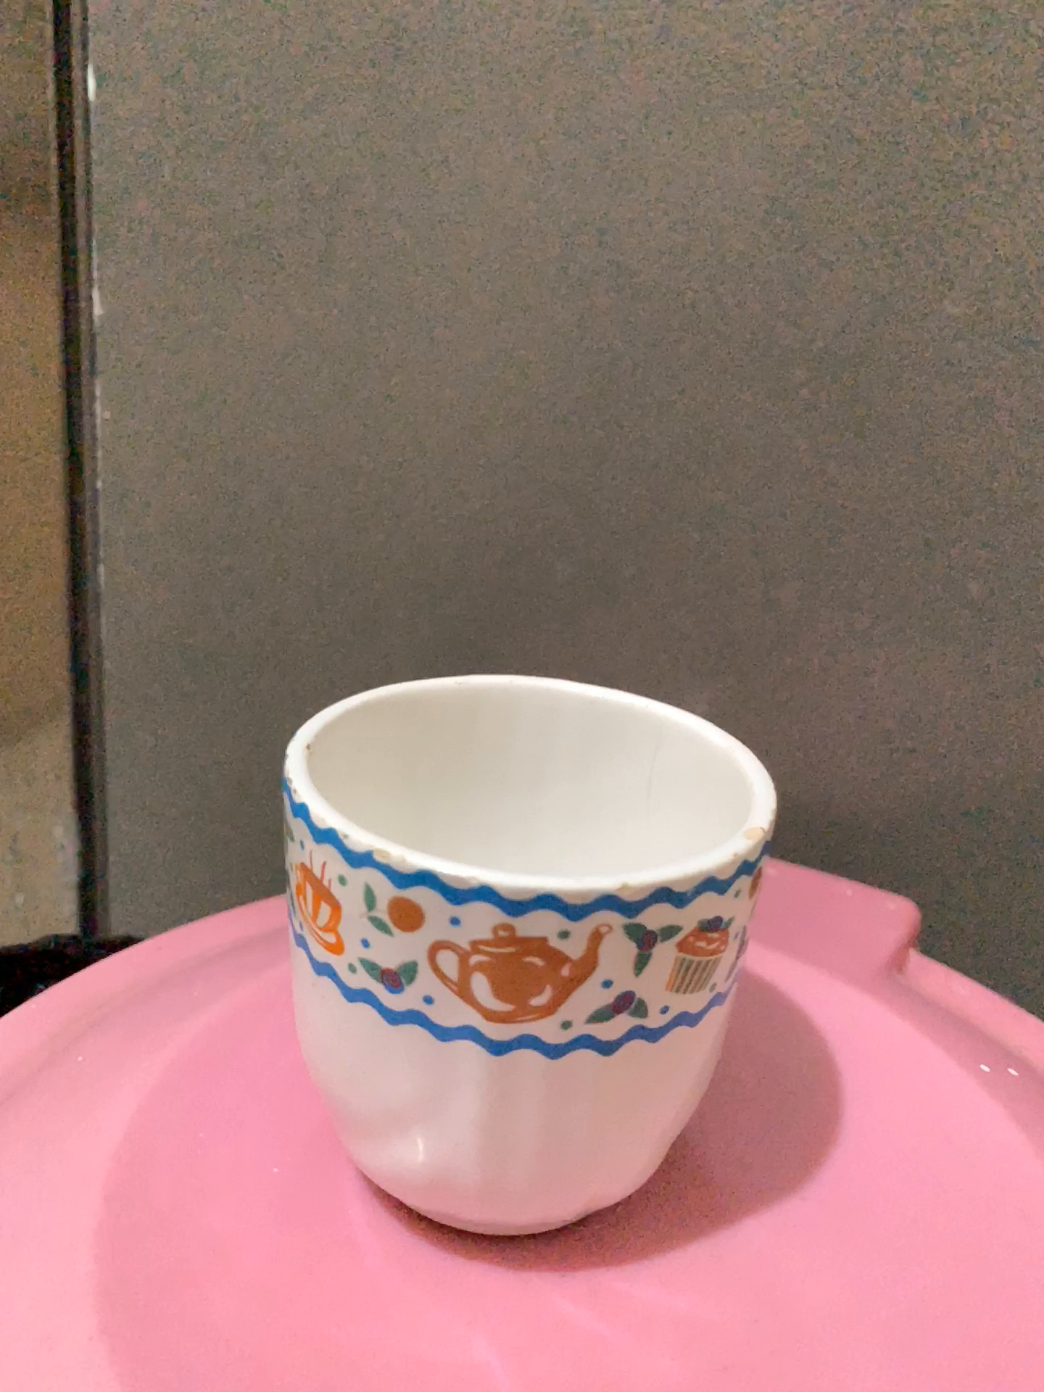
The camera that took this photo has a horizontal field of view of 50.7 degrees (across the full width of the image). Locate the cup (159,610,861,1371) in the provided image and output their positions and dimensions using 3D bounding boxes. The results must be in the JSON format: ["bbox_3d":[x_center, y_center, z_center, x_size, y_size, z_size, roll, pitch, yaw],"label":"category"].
[{"bbox_3d":[0.002,0.031,0.161,0.076,0.062,0.072,5,18,-2],"label":"cup"}]
